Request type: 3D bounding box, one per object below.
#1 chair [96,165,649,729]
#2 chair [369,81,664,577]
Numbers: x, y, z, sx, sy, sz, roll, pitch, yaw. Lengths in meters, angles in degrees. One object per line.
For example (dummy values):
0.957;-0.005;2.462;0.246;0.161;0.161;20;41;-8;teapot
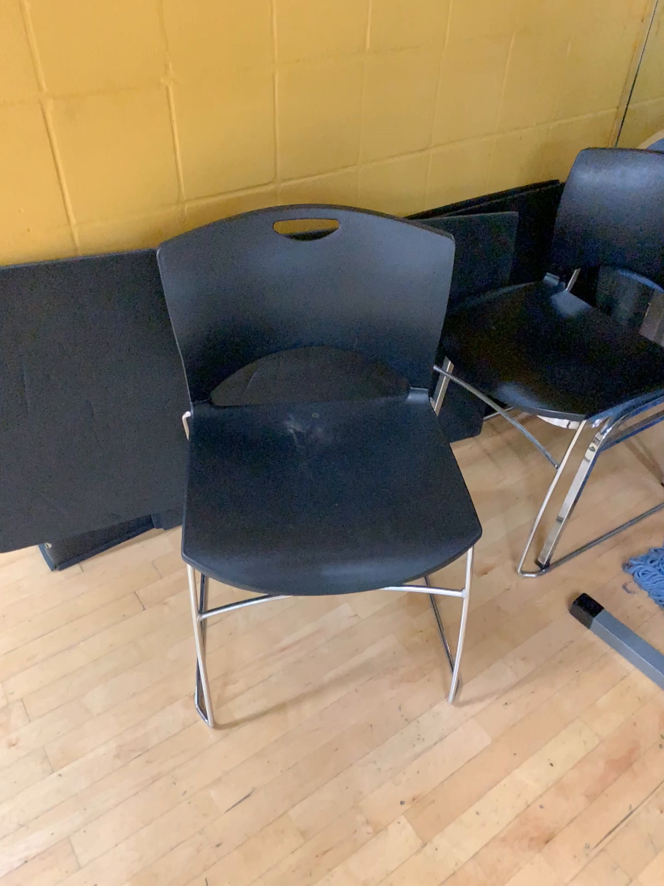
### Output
0.001;-0.015;1.268;0.636;0.722;0.730;-4;43;-7;chair
0.626;-0.309;1.601;0.777;0.762;0.679;-21;48;-23;chair
